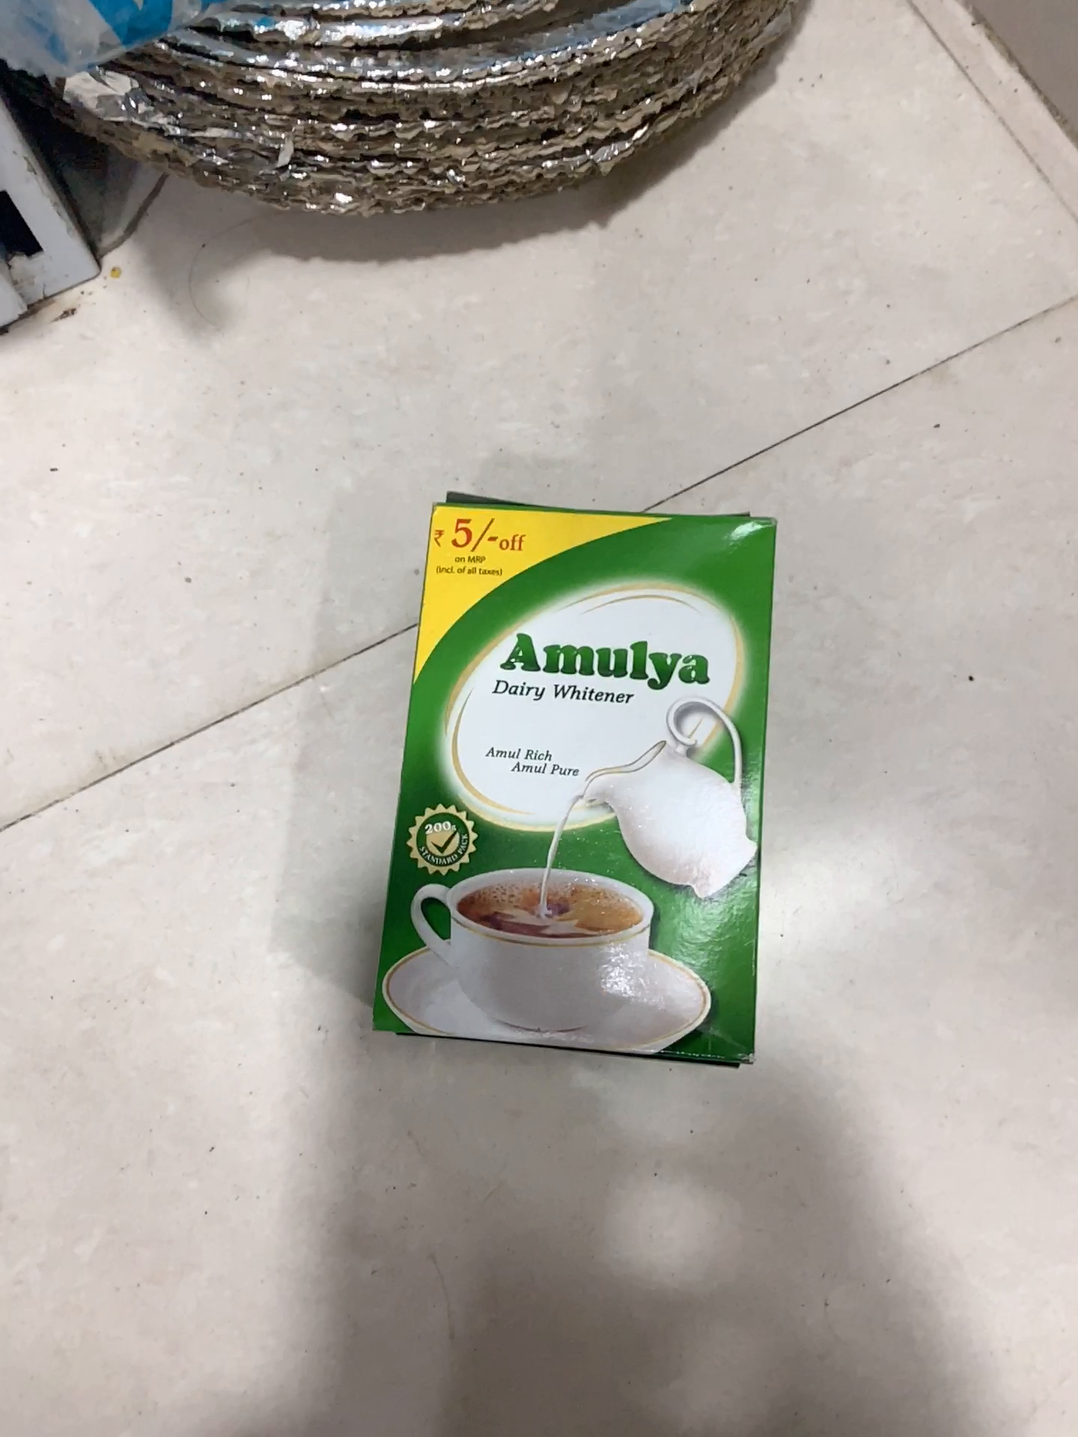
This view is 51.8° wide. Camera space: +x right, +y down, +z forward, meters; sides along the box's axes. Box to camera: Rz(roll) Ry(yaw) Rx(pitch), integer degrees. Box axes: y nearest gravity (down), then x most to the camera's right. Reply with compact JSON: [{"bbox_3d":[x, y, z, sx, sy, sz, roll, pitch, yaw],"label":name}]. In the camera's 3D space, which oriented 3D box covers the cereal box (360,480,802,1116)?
[{"bbox_3d":[0.014,0.020,0.282,0.090,0.060,0.140,4,77,4],"label":"cereal box"}]
